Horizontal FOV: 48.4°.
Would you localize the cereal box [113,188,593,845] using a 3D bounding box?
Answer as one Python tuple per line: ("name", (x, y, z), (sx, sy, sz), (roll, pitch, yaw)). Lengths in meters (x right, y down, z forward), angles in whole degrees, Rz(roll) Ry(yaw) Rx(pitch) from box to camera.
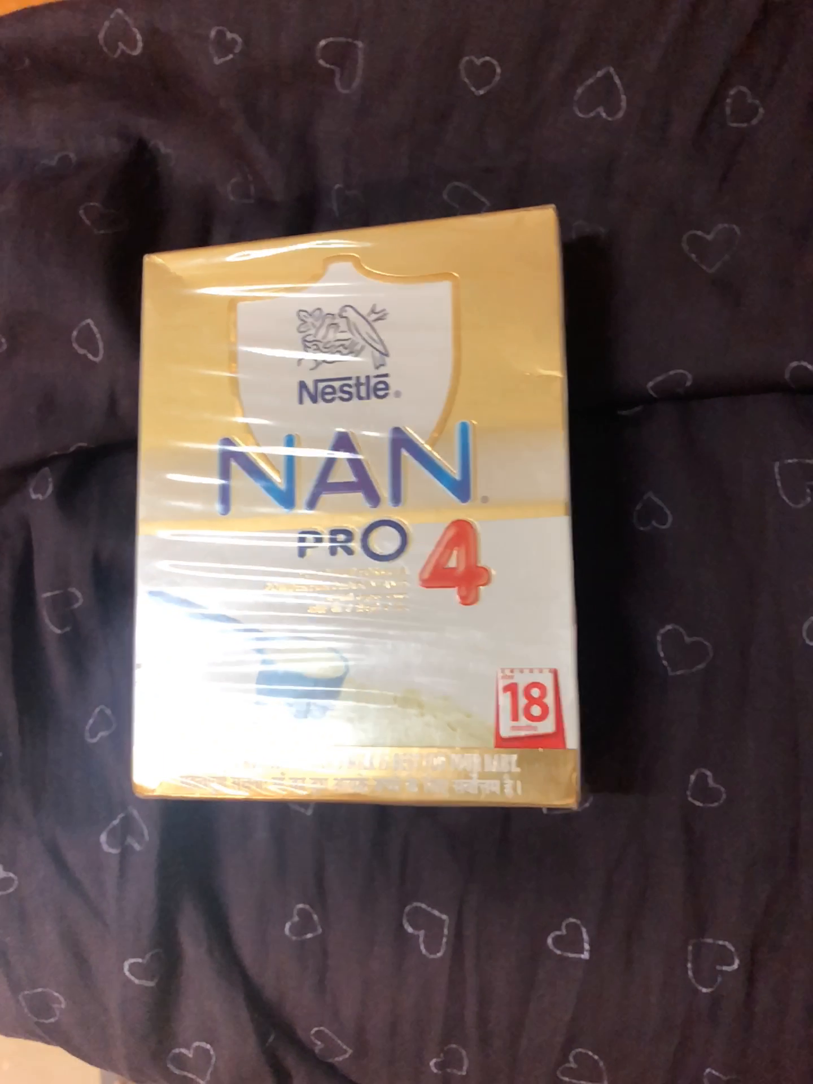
("cereal box", (-0.019, -0.006, 0.330), (0.160, 0.050, 0.210), (-3, 82, 14))
